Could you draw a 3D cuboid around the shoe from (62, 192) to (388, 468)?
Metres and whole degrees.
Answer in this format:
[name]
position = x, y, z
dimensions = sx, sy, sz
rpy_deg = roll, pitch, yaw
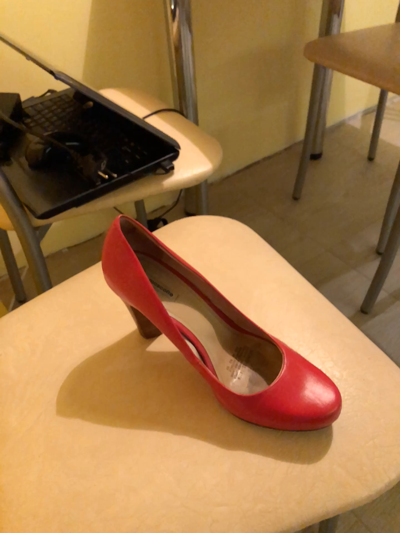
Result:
[shoe]
position = 0.012, 0.045, 0.368
dimensions = 0.229, 0.129, 0.080
rpy_deg = 23, 50, 25
